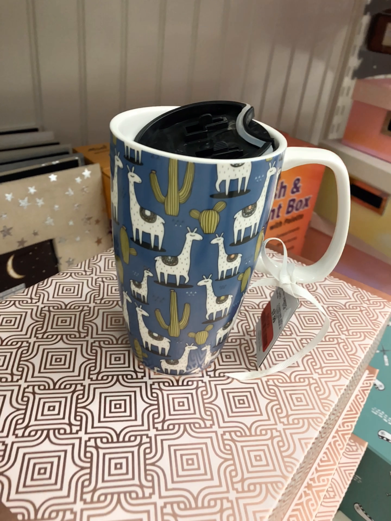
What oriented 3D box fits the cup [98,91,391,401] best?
[{"bbox_3d":[0.018,-0.007,0.244,0.125,0.138,0.090,4,32,-4],"label":"cup"}]
